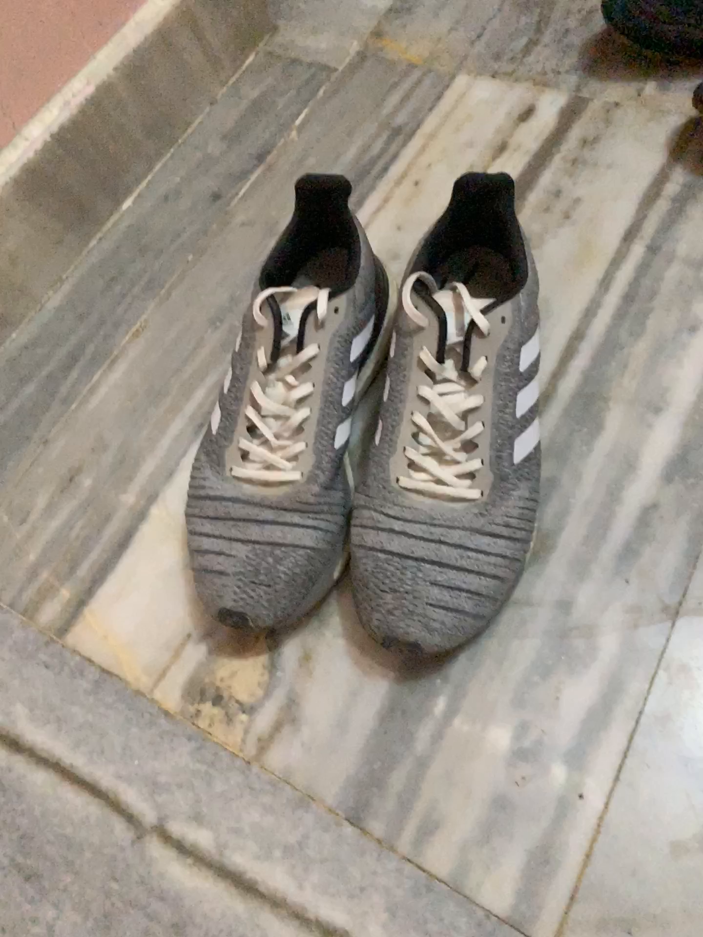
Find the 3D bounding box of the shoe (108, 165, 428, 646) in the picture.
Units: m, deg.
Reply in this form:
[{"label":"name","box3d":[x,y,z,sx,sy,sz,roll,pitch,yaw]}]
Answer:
[{"label":"shoe","box3d":[-0.035,-0.057,0.470,0.110,0.080,0.309,7,63,14]}]

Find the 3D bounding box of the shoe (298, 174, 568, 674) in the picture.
[{"label":"shoe","box3d":[0.063,-0.041,0.451,0.120,0.090,0.299,4,62,13]}]
